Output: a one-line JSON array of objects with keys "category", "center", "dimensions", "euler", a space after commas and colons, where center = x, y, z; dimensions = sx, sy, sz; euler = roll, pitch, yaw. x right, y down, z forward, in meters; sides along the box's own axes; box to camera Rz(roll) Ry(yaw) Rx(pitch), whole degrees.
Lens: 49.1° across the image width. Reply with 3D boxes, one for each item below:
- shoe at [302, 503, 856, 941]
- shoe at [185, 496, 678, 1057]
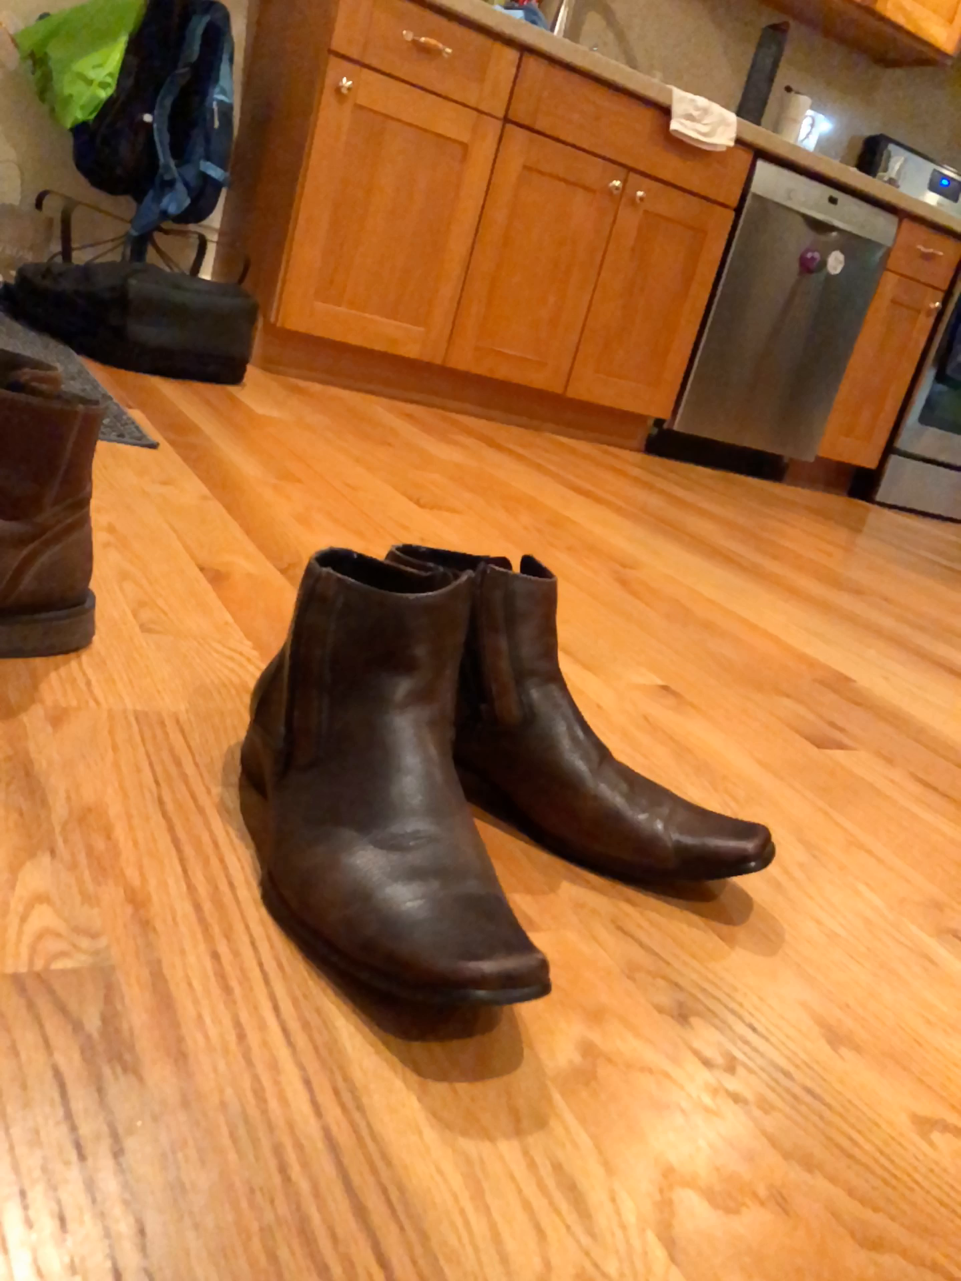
[{"category": "shoe", "center": [0.056, 0.035, 0.668], "dimensions": [0.300, 0.152, 0.109], "euler": [22, 18, 20]}, {"category": "shoe", "center": [-0.051, 0.044, 0.532], "dimensions": [0.109, 0.142, 0.291], "euler": [6, 20, -31]}]
